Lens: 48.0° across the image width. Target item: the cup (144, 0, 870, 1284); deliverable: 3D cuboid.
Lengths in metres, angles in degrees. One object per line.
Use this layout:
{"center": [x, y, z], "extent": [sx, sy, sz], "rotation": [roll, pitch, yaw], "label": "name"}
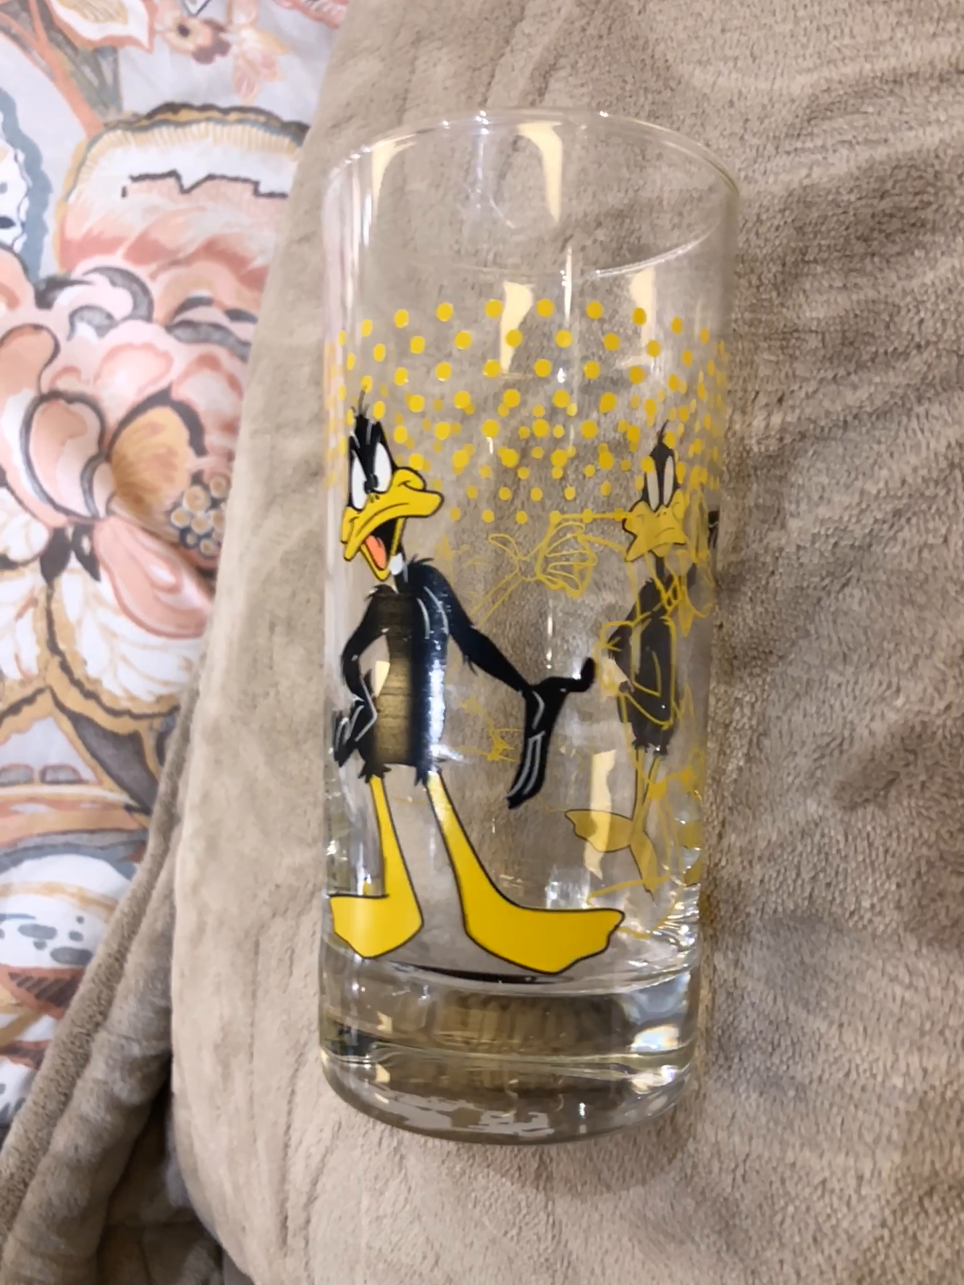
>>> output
{"center": [0.008, -0.006, 0.168], "extent": [0.070, 0.070, 0.160], "rotation": [0, 81, 40], "label": "cup"}
